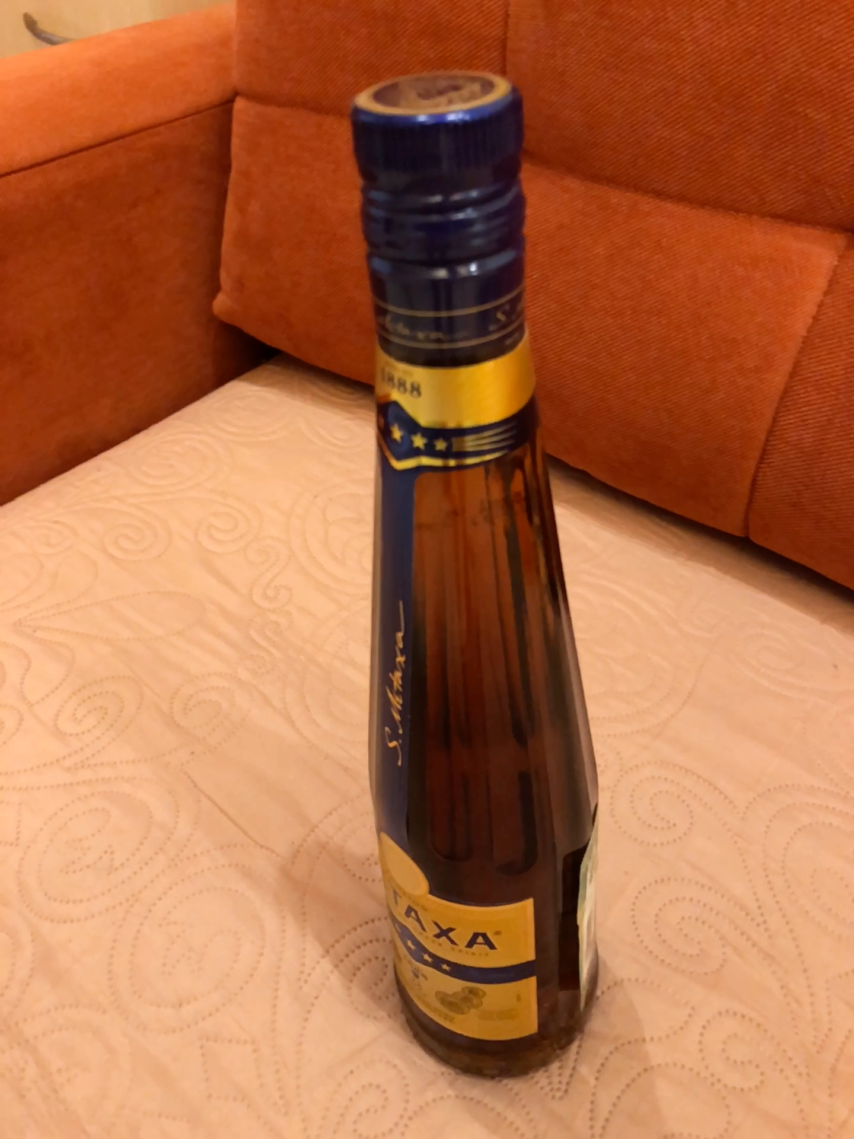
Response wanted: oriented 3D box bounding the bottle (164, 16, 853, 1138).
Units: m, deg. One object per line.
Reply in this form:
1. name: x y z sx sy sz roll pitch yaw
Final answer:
1. bottle: 0.021 0.038 0.259 0.090 0.308 0.100 -26 48 -24
